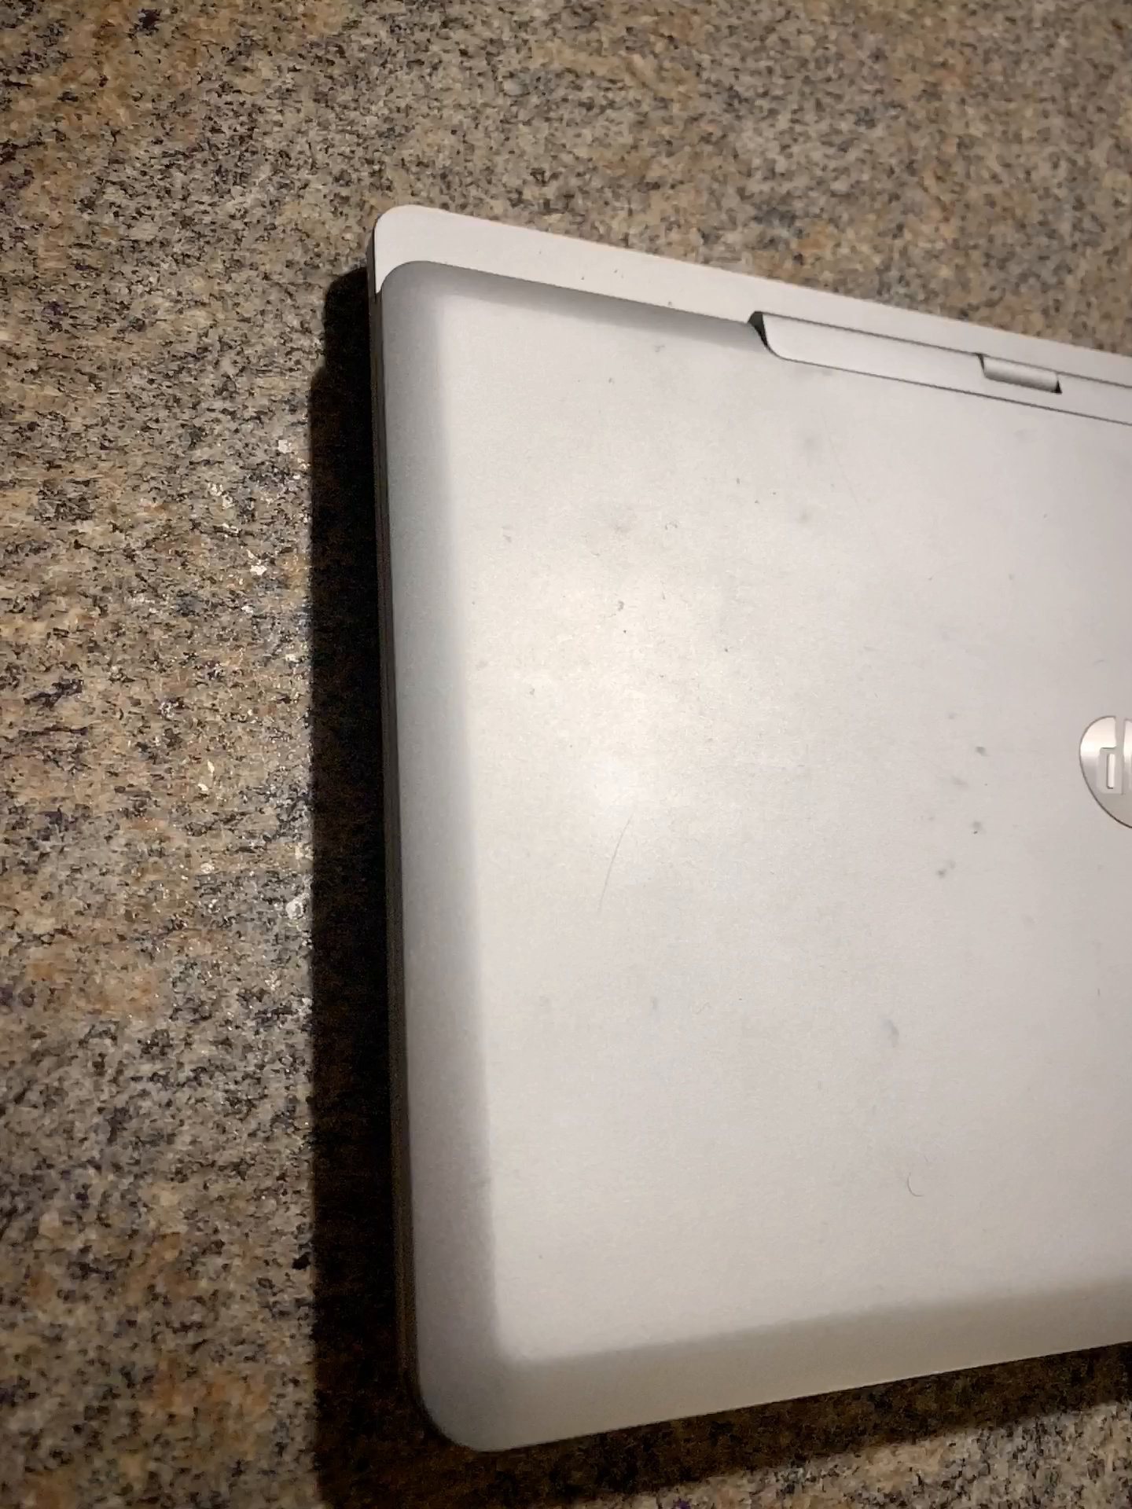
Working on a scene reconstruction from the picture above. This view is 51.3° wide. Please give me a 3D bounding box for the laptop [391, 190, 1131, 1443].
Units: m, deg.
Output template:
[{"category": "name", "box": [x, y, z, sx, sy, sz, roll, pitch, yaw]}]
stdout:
[{"category": "laptop", "box": [0.103, -0.003, 0.221, 0.268, 0.005, 0.194, 3, 67, -20]}]
